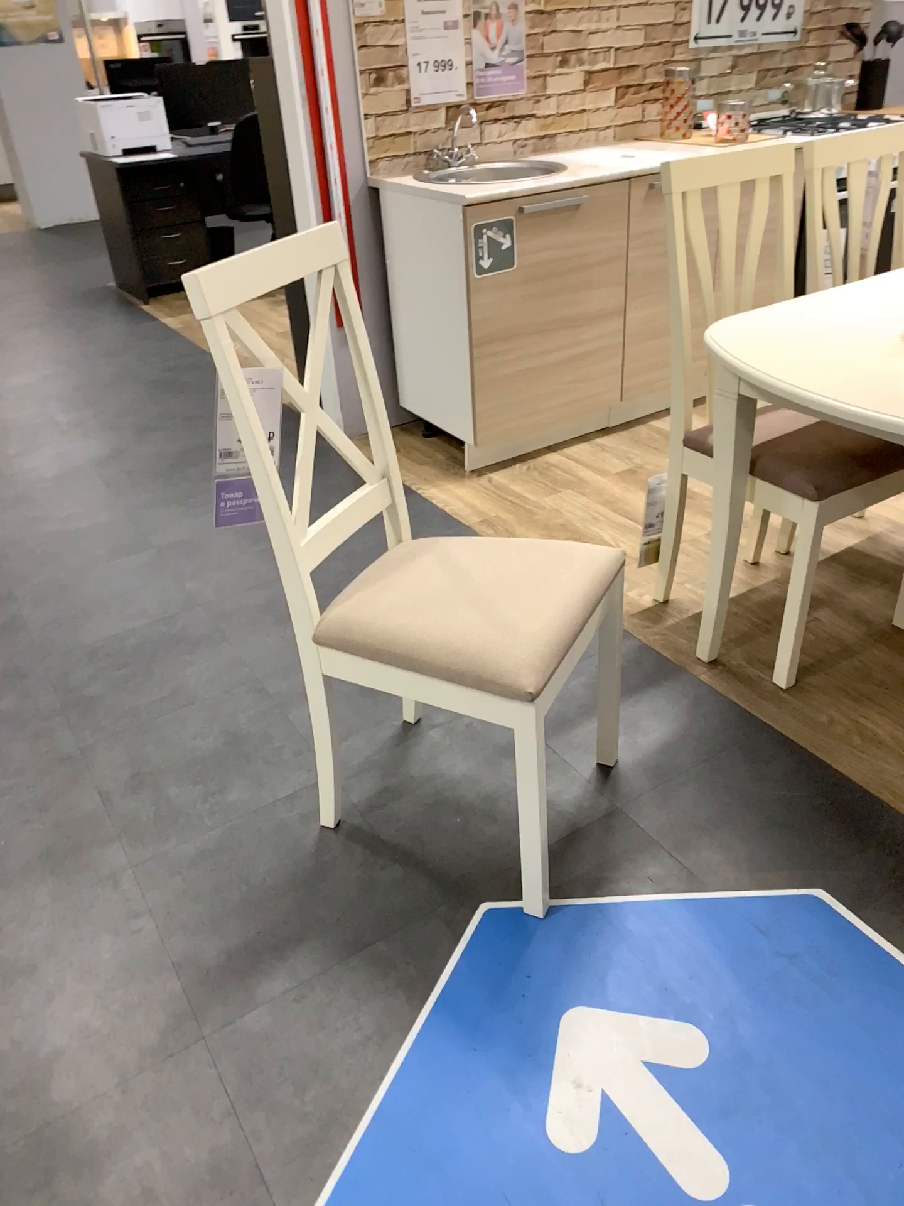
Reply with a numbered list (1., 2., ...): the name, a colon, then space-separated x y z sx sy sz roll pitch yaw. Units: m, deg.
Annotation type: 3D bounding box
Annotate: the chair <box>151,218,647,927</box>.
1. chair: -0.027 -0.054 1.509 0.528 0.989 0.437 12 35 24
